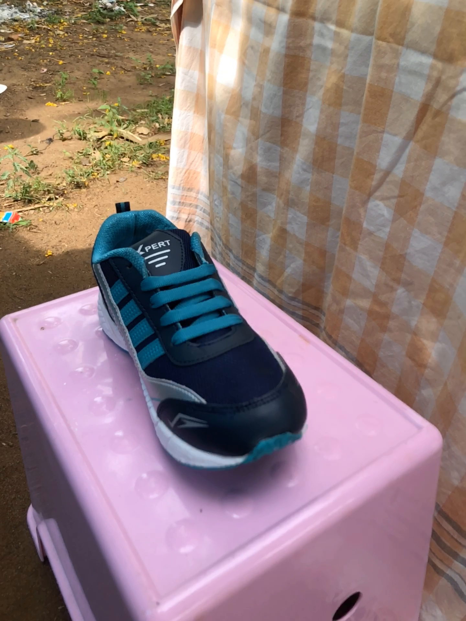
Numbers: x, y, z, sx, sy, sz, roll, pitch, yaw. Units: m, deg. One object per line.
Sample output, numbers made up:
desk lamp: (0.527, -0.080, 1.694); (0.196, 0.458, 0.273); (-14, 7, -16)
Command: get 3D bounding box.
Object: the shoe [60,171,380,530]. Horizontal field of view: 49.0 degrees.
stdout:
shoe: (-0.032, 0.002, 0.393); (0.110, 0.109, 0.271); (-18, 41, -24)
